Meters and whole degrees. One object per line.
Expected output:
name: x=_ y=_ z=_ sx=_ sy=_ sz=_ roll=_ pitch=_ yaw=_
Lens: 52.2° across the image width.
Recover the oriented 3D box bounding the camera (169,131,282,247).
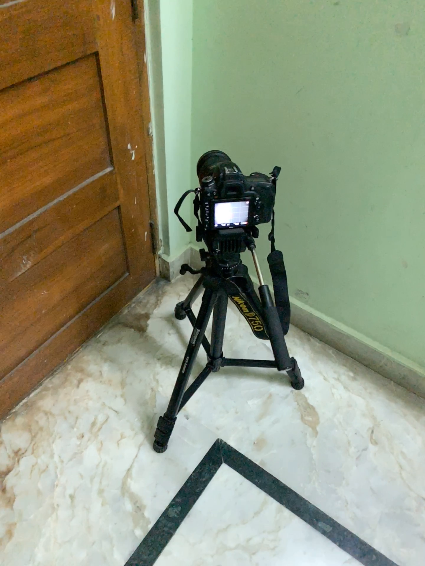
camera: x=0.016 y=-0.193 z=0.870 sx=0.175 sy=0.128 sz=0.190 roll=-7 pitch=49 yaw=-10
